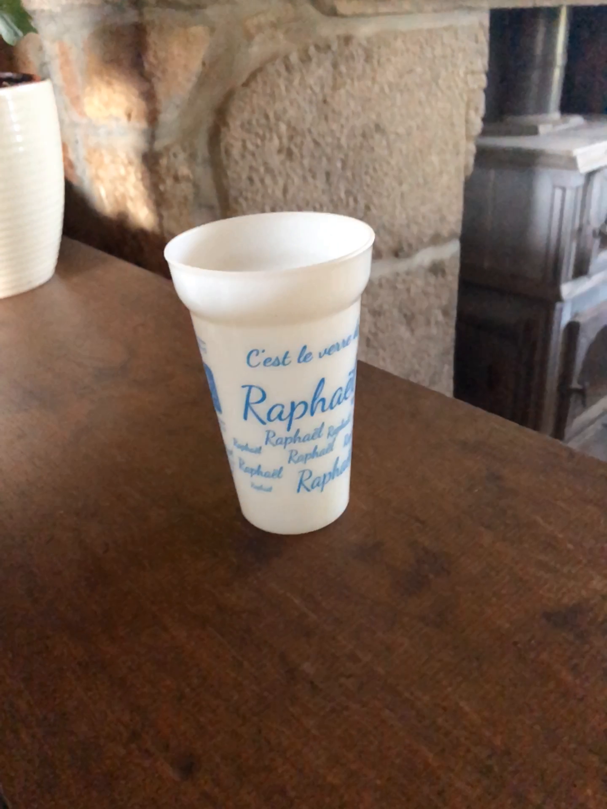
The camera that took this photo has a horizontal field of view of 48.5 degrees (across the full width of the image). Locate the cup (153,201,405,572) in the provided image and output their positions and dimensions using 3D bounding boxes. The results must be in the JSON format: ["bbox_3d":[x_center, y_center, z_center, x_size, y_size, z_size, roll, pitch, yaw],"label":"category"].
[{"bbox_3d":[-0.008,-0.010,0.276,0.080,0.119,0.080,-3,28,2],"label":"cup"}]
